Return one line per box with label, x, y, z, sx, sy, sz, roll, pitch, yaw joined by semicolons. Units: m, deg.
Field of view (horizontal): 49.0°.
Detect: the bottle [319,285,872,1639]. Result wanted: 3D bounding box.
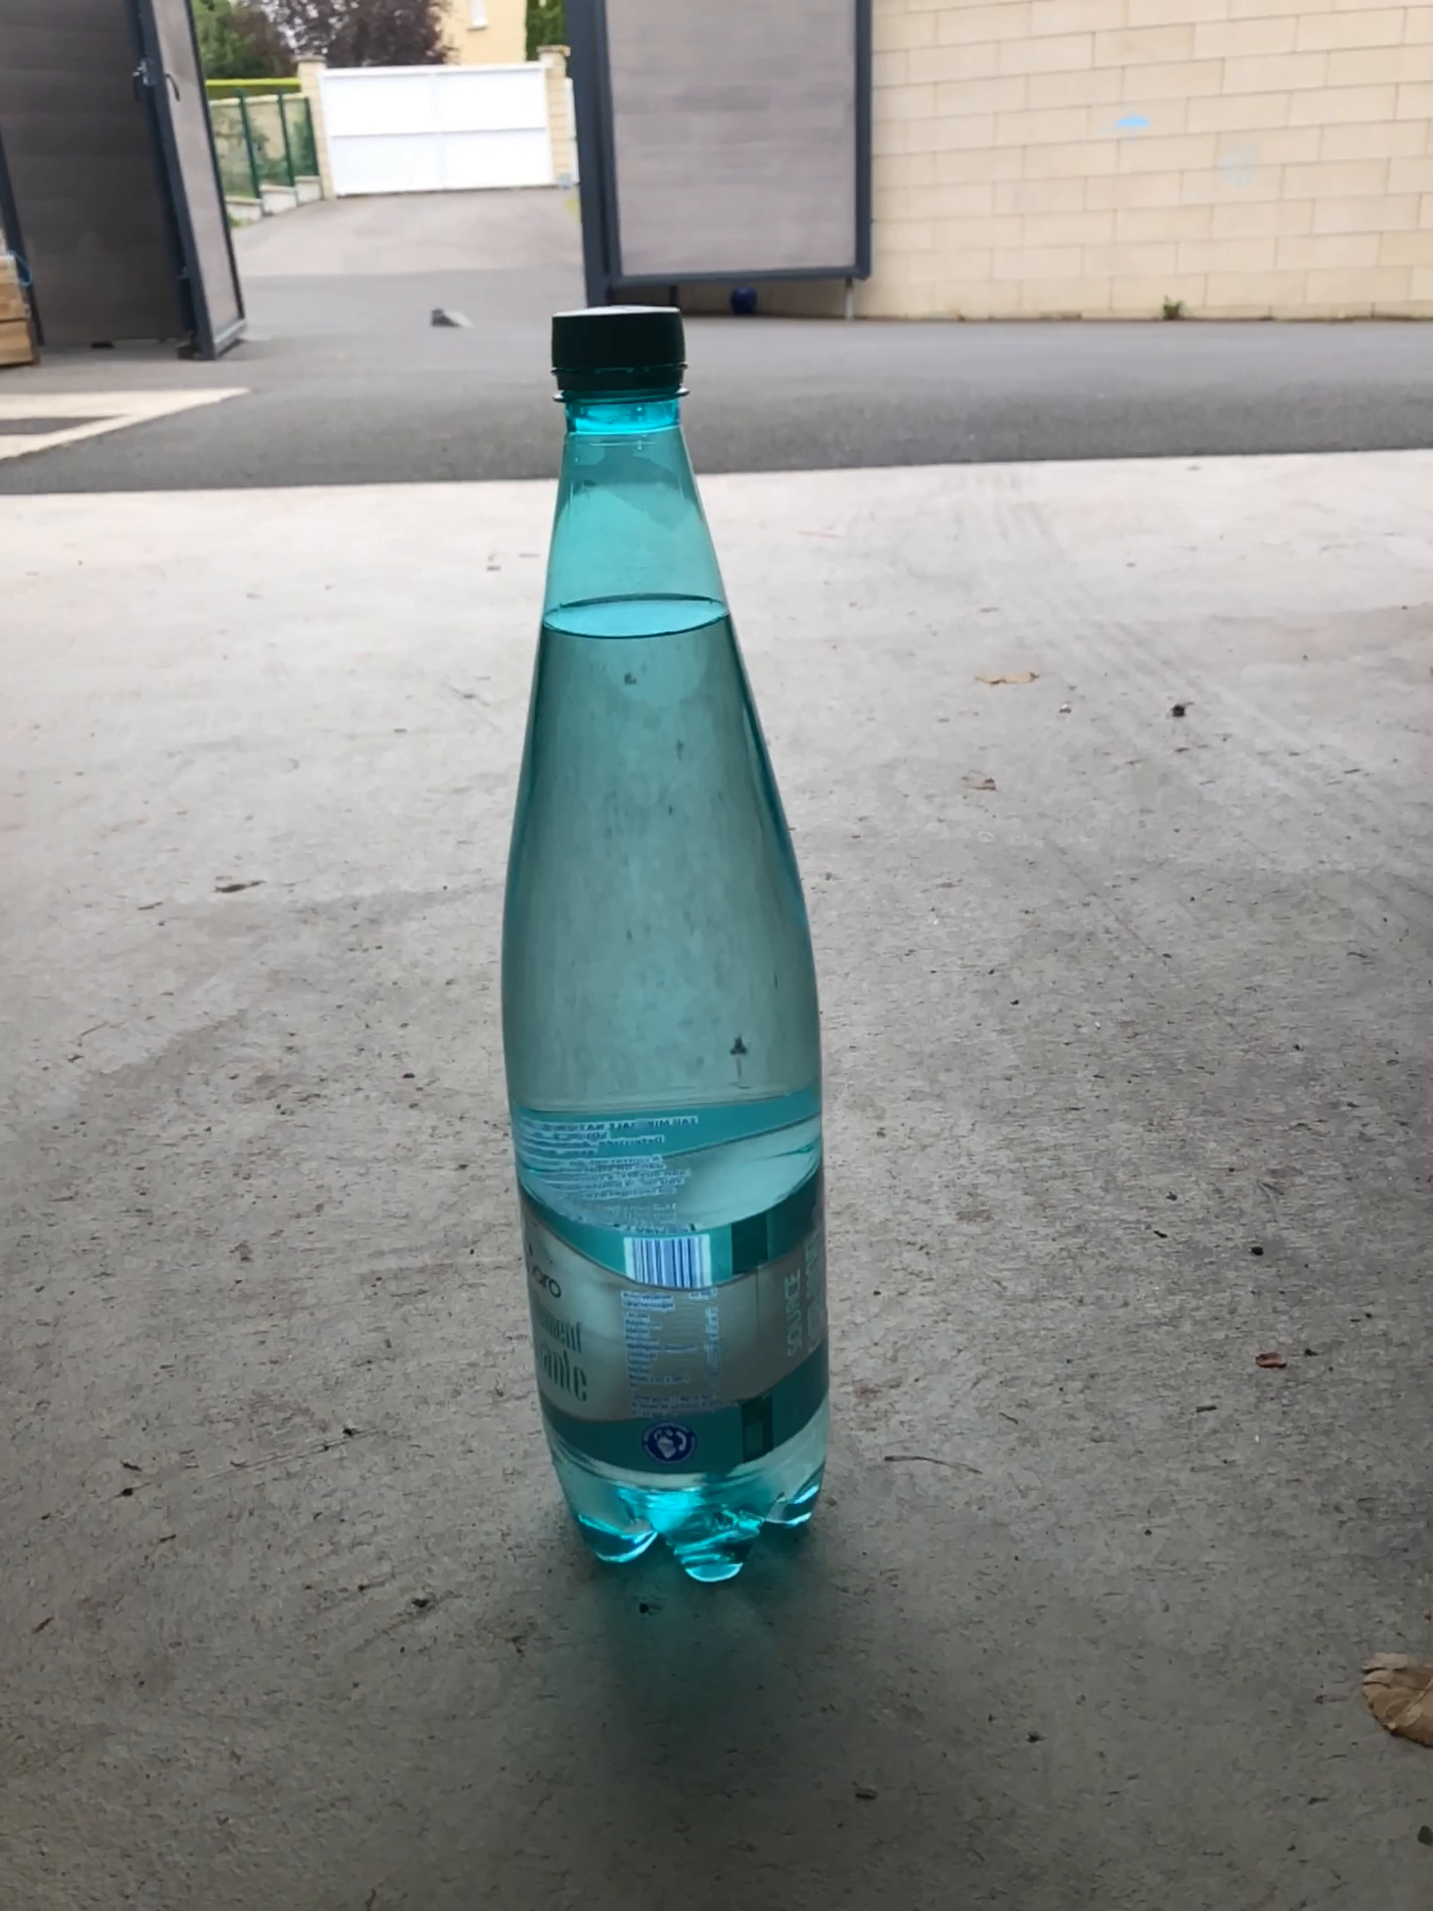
bottle;-0.025;0.004;0.401;0.090;0.318;0.100;-12;25;-19
